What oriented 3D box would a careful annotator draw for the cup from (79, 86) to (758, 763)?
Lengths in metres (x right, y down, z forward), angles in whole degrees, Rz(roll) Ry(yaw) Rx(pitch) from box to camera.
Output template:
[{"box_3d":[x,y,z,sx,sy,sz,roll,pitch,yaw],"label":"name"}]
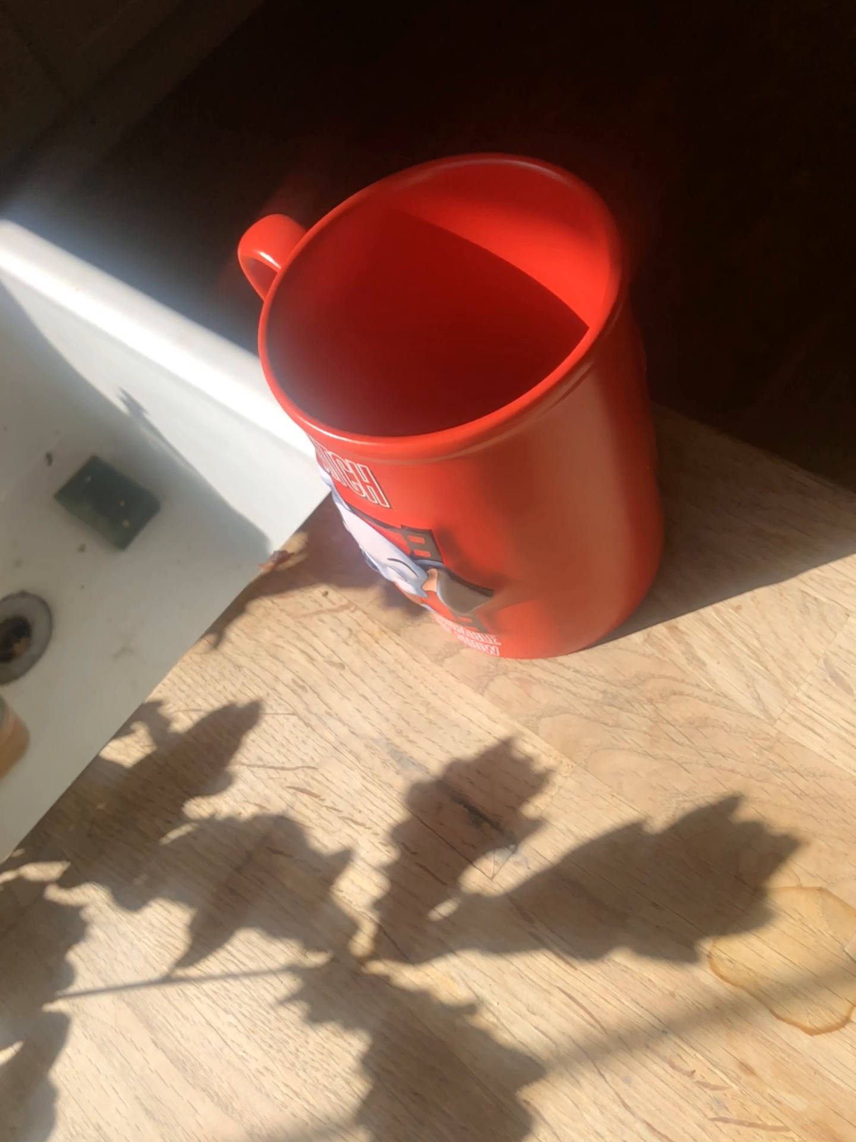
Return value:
[{"box_3d":[0.006,-0.039,0.267,0.131,0.119,0.095,34,78,32],"label":"cup"}]
